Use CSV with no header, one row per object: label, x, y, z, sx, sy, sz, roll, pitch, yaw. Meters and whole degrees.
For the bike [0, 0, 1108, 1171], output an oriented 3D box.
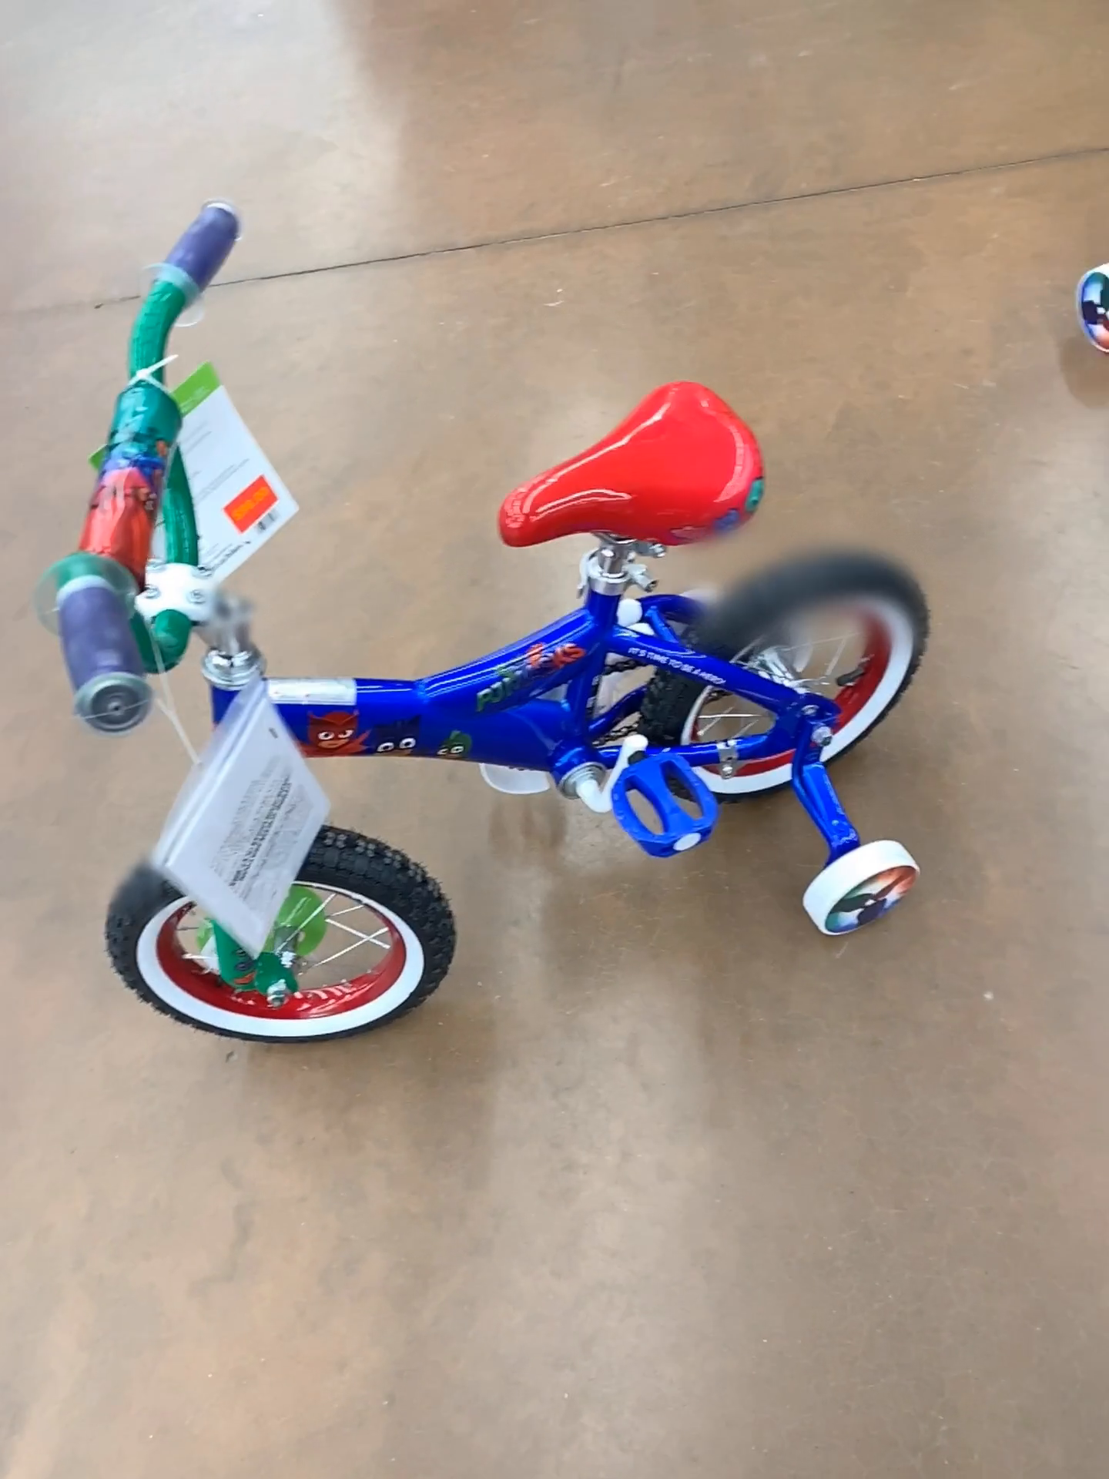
bike,-0.055,-0.100,0.934,0.793,0.695,0.466,-23,55,-4
